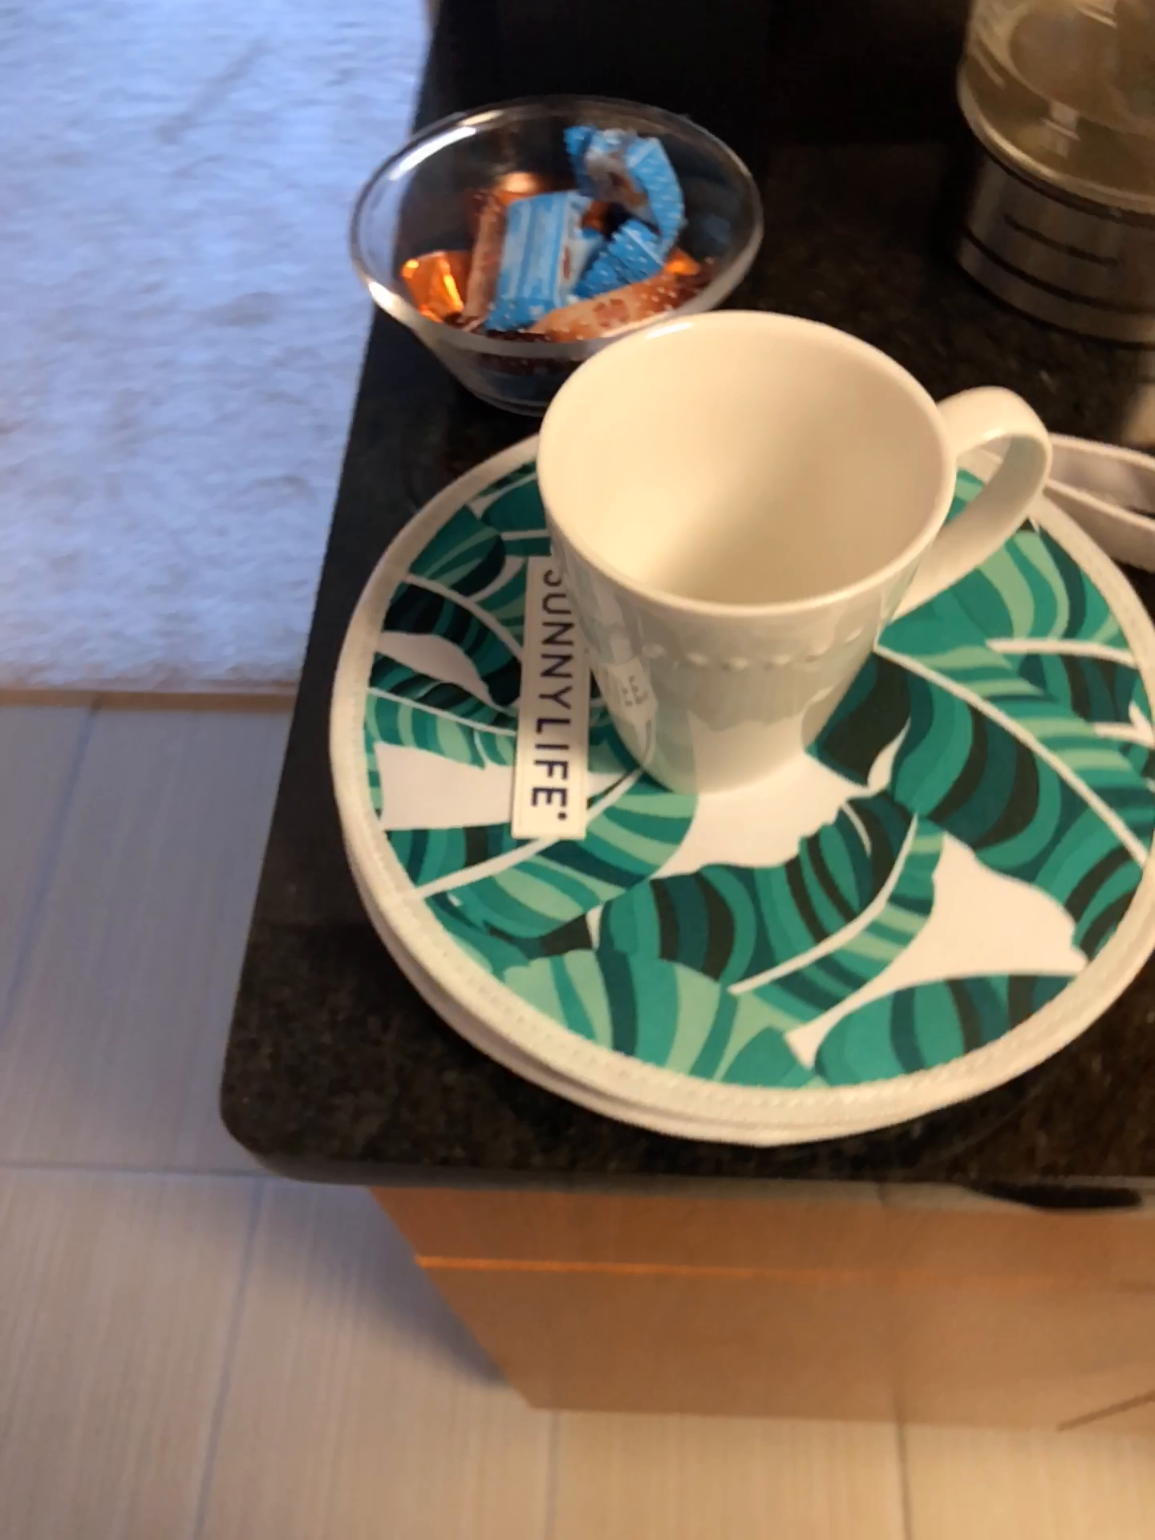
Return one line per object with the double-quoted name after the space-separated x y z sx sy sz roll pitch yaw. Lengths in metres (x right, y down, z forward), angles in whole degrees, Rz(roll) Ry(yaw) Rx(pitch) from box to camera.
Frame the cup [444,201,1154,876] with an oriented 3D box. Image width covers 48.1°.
0.050 -0.057 0.322 0.130 0.090 0.090 -24 60 -11 "cup"
